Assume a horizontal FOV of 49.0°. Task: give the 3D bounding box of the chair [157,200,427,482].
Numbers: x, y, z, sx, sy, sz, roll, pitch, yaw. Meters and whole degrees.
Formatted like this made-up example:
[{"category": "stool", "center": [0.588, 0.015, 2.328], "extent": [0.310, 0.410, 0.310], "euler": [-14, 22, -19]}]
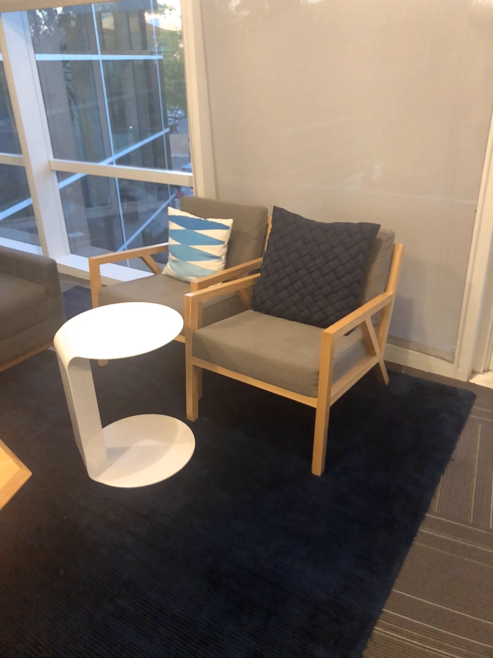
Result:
[{"category": "chair", "center": [0.224, -0.037, 2.318], "extent": [0.740, 0.774, 0.856], "euler": [15, 31, 32]}]
